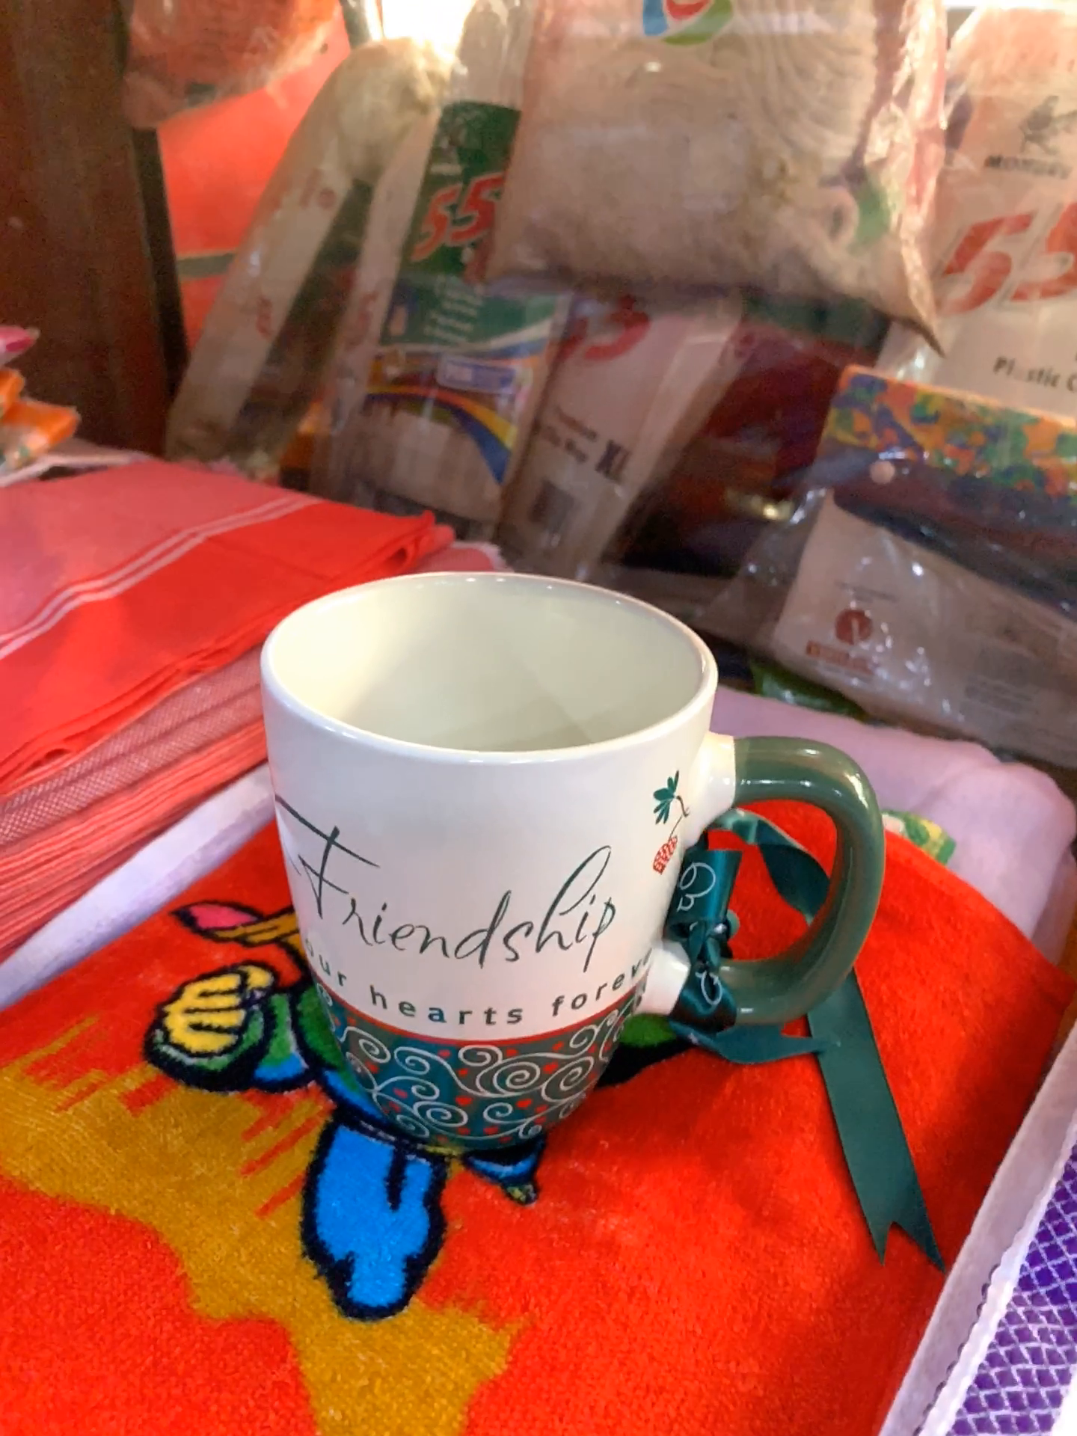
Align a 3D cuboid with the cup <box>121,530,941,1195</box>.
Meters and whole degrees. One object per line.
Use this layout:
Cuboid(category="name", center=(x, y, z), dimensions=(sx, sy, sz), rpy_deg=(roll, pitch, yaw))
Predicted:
Cuboid(category="cup", center=(0.000, 0.024, 0.247), dimensions=(0.132, 0.094, 0.101), rpy_deg=(4, 29, 4))
